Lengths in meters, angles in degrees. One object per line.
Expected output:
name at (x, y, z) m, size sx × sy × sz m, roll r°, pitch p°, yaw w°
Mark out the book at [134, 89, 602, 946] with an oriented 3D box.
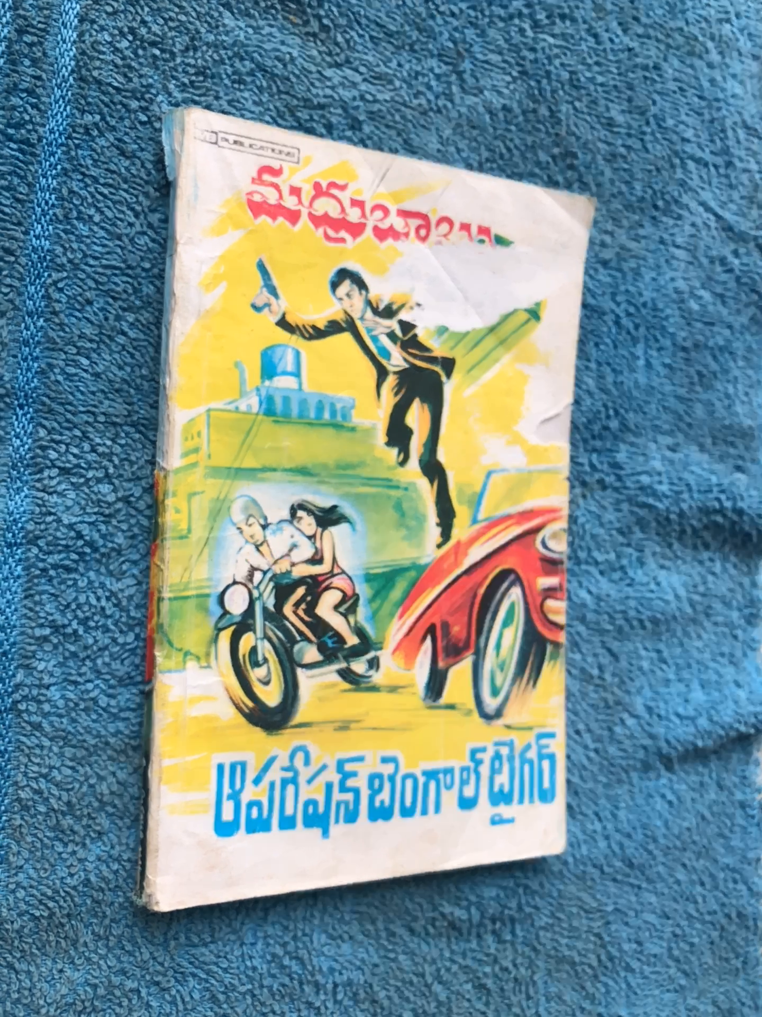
book at (0.002, 0.002, 0.192) m, size 0.100 × 0.020 × 0.160 m, roll 4°, pitch 85°, yaw -26°
